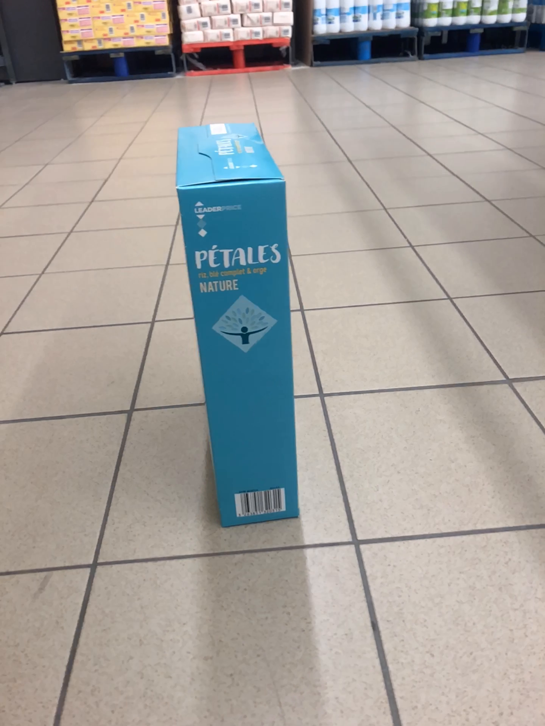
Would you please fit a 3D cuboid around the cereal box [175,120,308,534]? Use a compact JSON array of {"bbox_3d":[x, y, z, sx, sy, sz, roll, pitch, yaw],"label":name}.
[{"bbox_3d":[-0.025,-0.037,0.487,0.070,0.268,0.201,-6,30,-5],"label":"cereal box"}]
